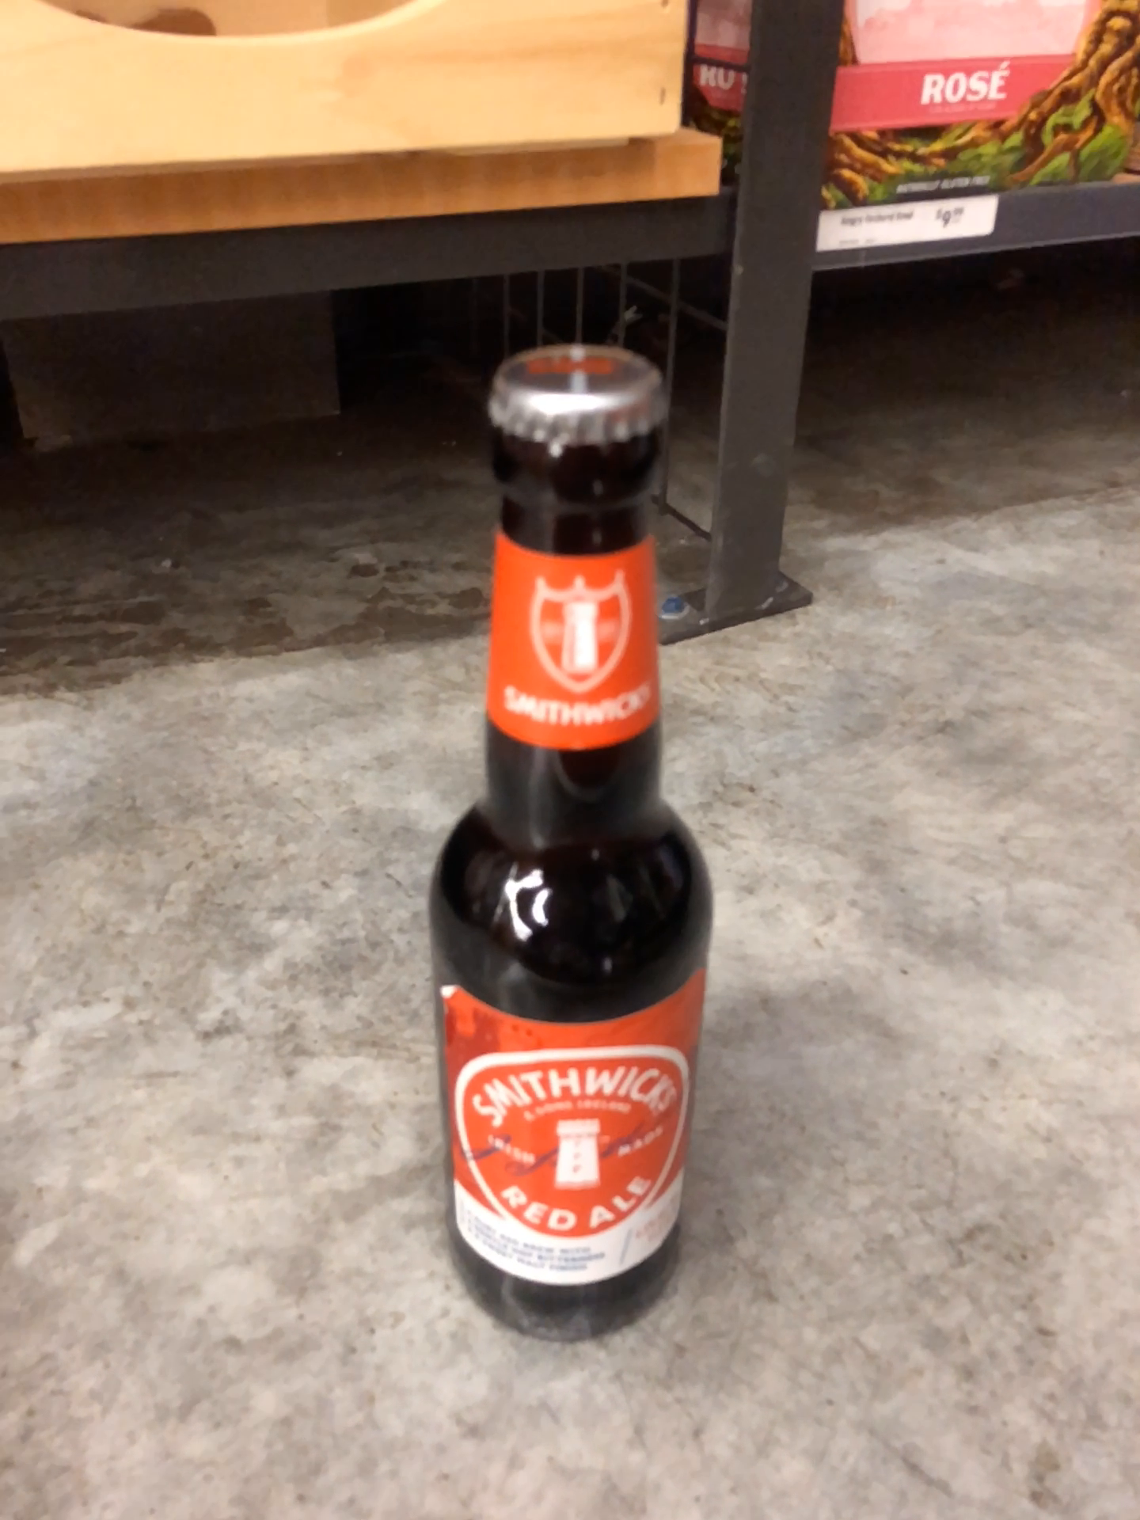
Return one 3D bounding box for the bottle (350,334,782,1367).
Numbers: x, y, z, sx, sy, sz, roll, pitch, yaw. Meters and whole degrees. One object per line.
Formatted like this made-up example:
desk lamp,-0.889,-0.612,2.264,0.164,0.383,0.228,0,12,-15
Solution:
bottle,-0.002,0.033,0.257,0.059,0.220,0.060,1,34,-1
